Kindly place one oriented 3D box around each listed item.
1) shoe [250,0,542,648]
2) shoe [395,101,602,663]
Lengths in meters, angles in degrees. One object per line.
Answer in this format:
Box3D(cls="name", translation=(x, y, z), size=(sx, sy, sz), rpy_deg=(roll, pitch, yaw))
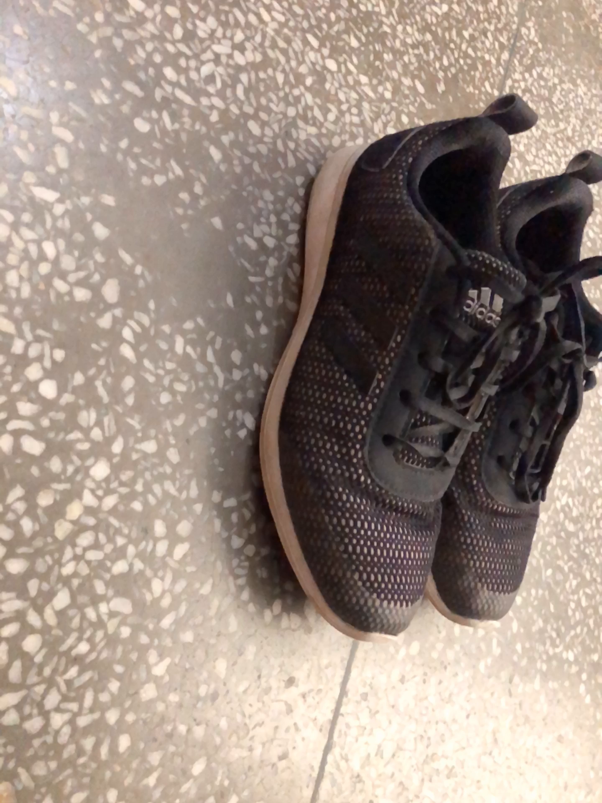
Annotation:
Box3D(cls="shoe", translation=(0.053, -0.034, 0.325), size=(0.101, 0.080, 0.280), rpy_deg=(16, 72, -38))
Box3D(cls="shoe", translation=(0.125, -0.007, 0.368), size=(0.100, 0.080, 0.270), rpy_deg=(19, 70, -38))
